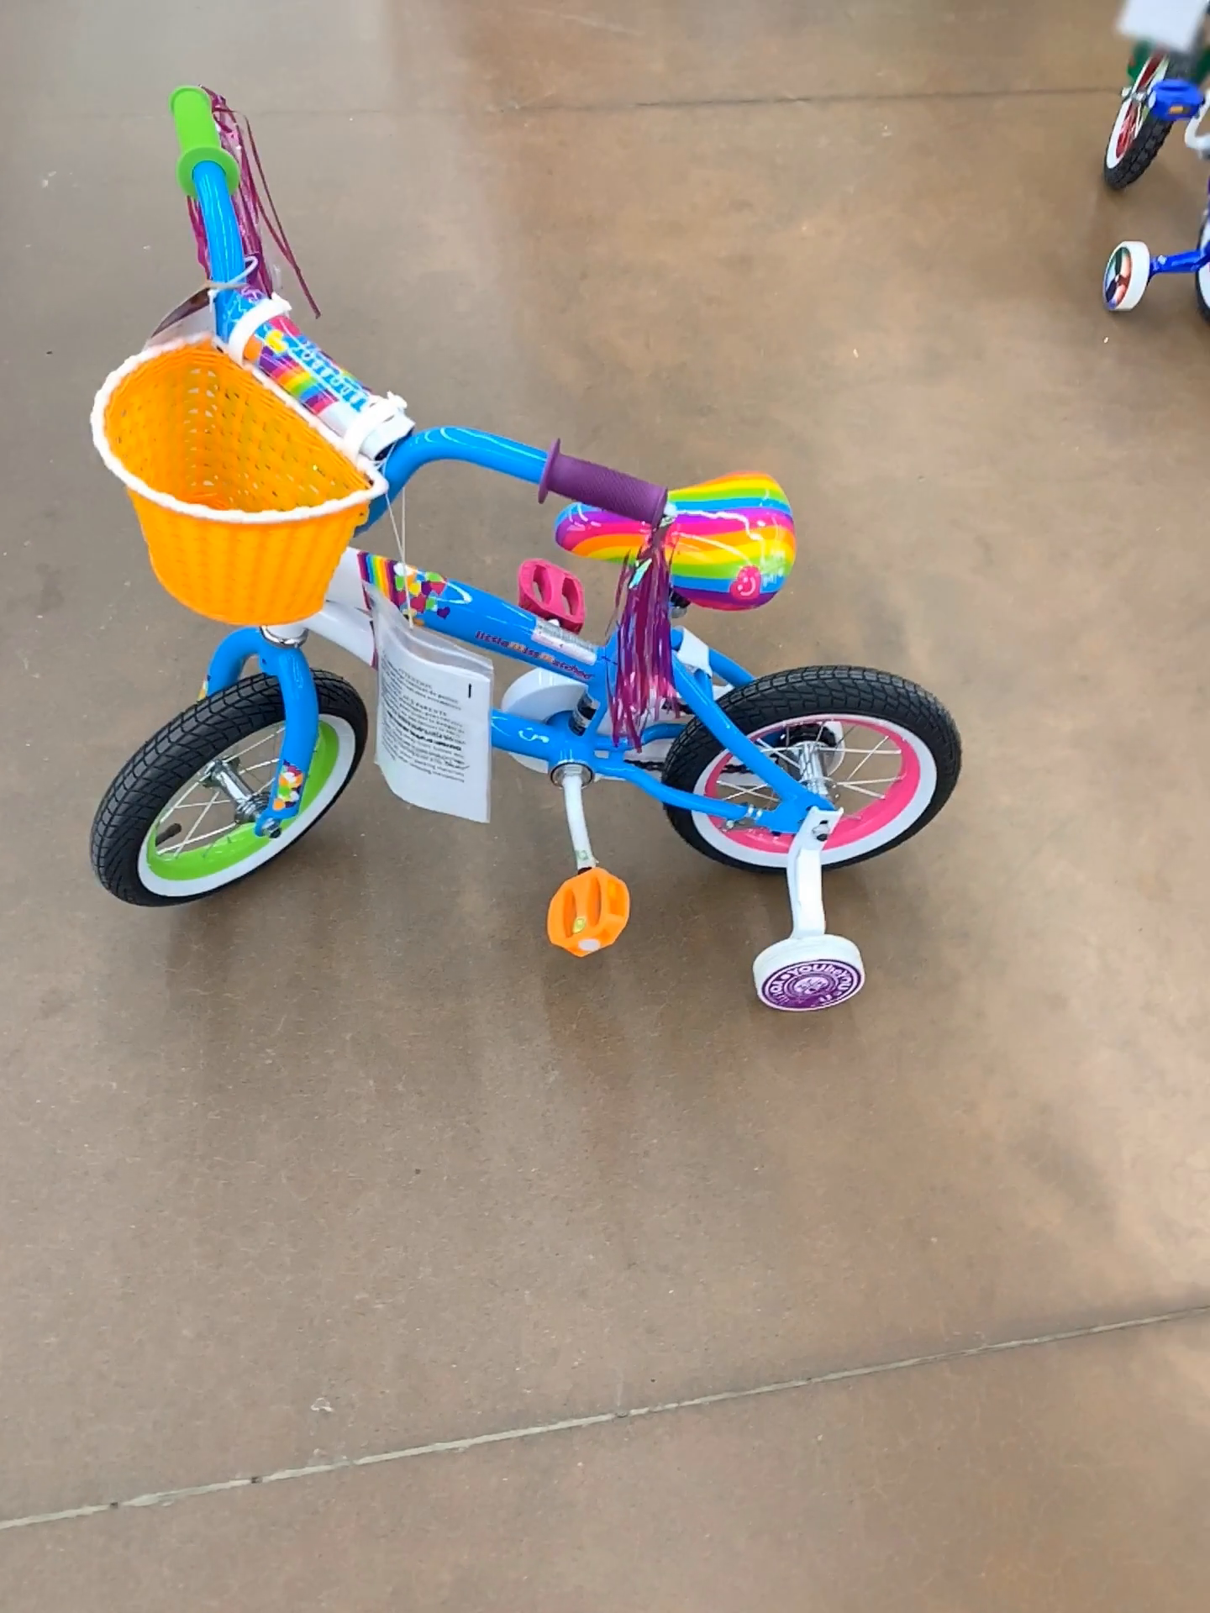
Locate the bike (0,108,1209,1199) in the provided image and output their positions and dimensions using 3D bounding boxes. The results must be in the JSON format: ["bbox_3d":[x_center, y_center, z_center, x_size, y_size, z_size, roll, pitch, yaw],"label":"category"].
[{"bbox_3d":[-0.050,-0.109,1.062,0.833,0.667,0.523,-5,51,-5],"label":"bike"}]
